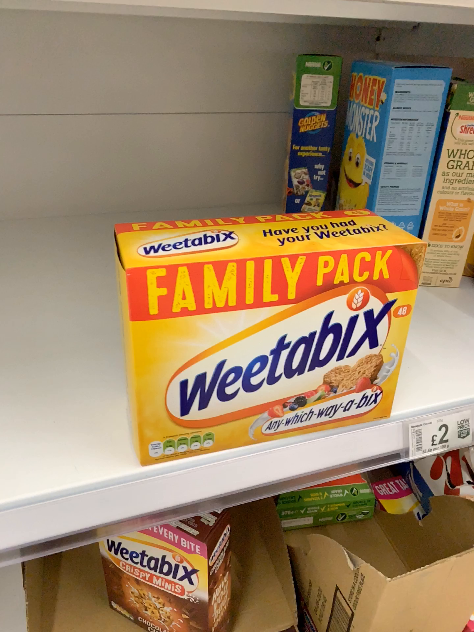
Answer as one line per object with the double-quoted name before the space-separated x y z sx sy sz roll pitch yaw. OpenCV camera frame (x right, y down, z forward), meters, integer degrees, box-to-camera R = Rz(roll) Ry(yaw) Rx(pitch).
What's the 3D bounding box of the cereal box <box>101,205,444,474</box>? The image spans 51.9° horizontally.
"cereal box" 0.024 0.013 0.435 0.260 0.188 0.091 -7 30 -16
